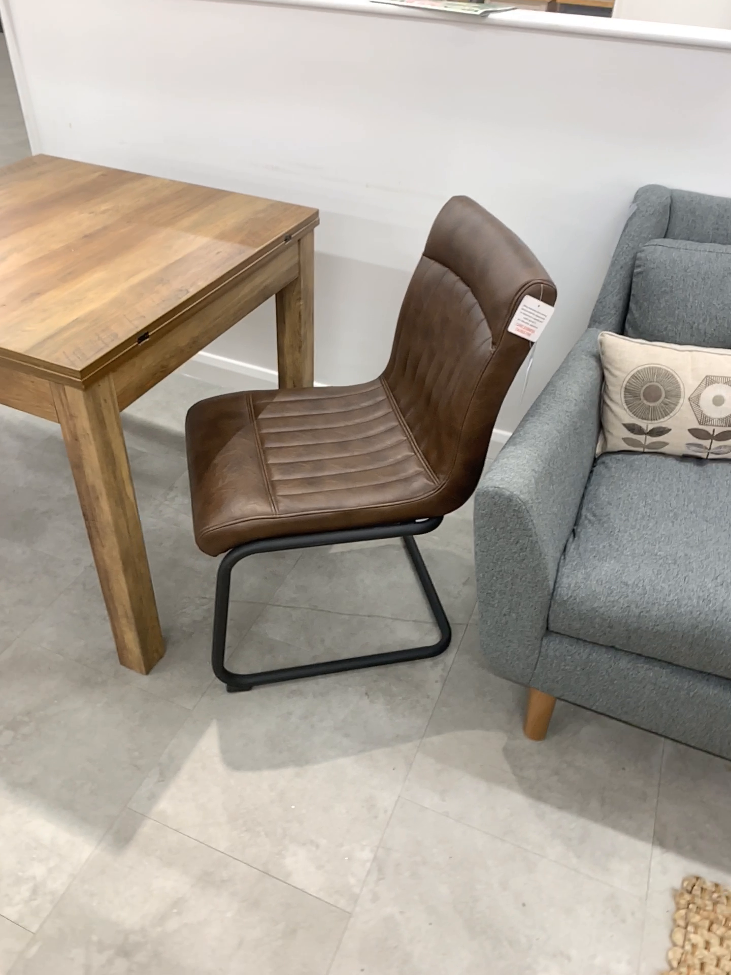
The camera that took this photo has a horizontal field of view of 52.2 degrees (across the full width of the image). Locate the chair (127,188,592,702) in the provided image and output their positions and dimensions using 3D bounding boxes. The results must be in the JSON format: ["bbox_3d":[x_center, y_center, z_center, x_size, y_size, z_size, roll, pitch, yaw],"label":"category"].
[{"bbox_3d":[-0.056,-0.083,1.422,0.632,0.773,0.502,-6,40,-11],"label":"chair"}]
